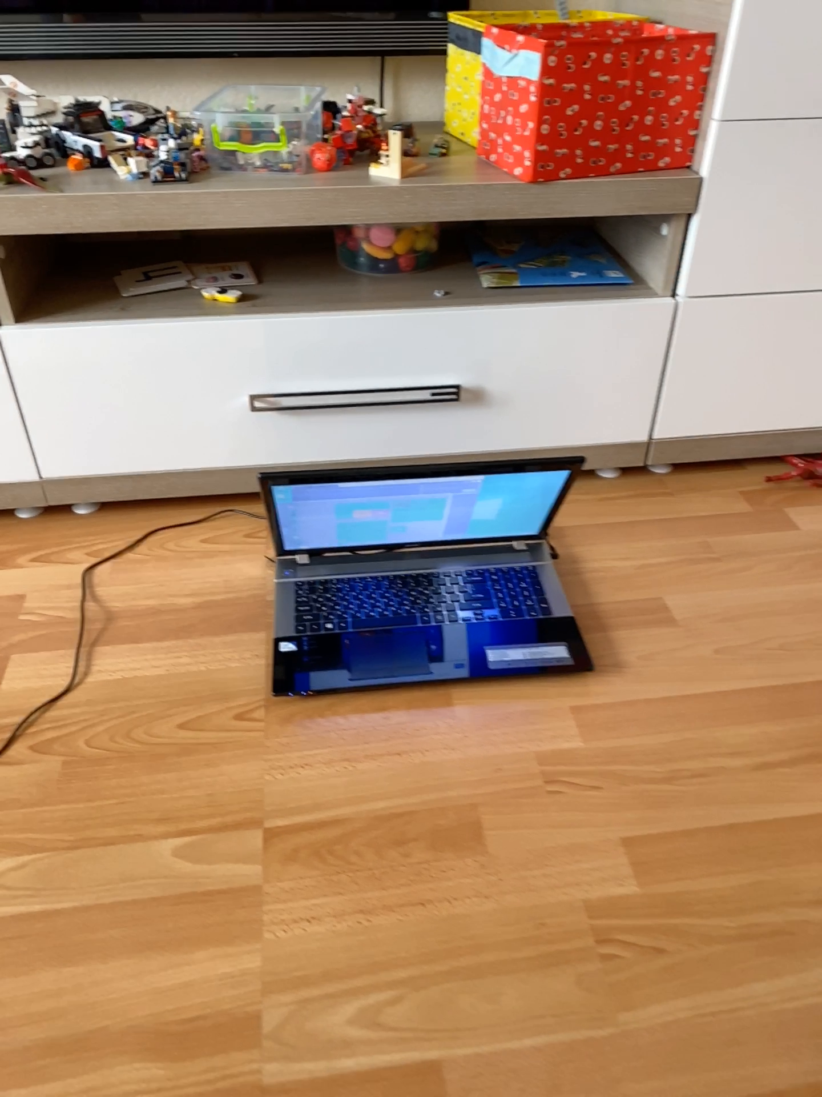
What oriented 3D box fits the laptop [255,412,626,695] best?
[{"bbox_3d":[0.022,-0.004,1.095,0.412,0.233,0.270,-3,36,-5],"label":"laptop"}]
